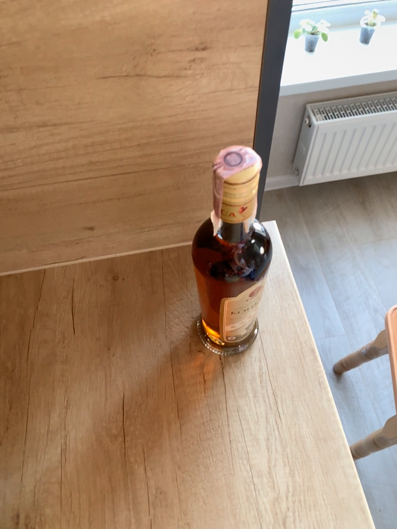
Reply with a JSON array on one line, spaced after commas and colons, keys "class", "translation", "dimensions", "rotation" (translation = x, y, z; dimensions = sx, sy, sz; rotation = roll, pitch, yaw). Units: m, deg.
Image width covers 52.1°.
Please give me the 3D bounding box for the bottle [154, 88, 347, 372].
[{"class": "bottle", "translation": [0.033, 0.004, 0.348], "dimensions": [0.080, 0.279, 0.070], "rotation": [-34, 65, -15]}]
